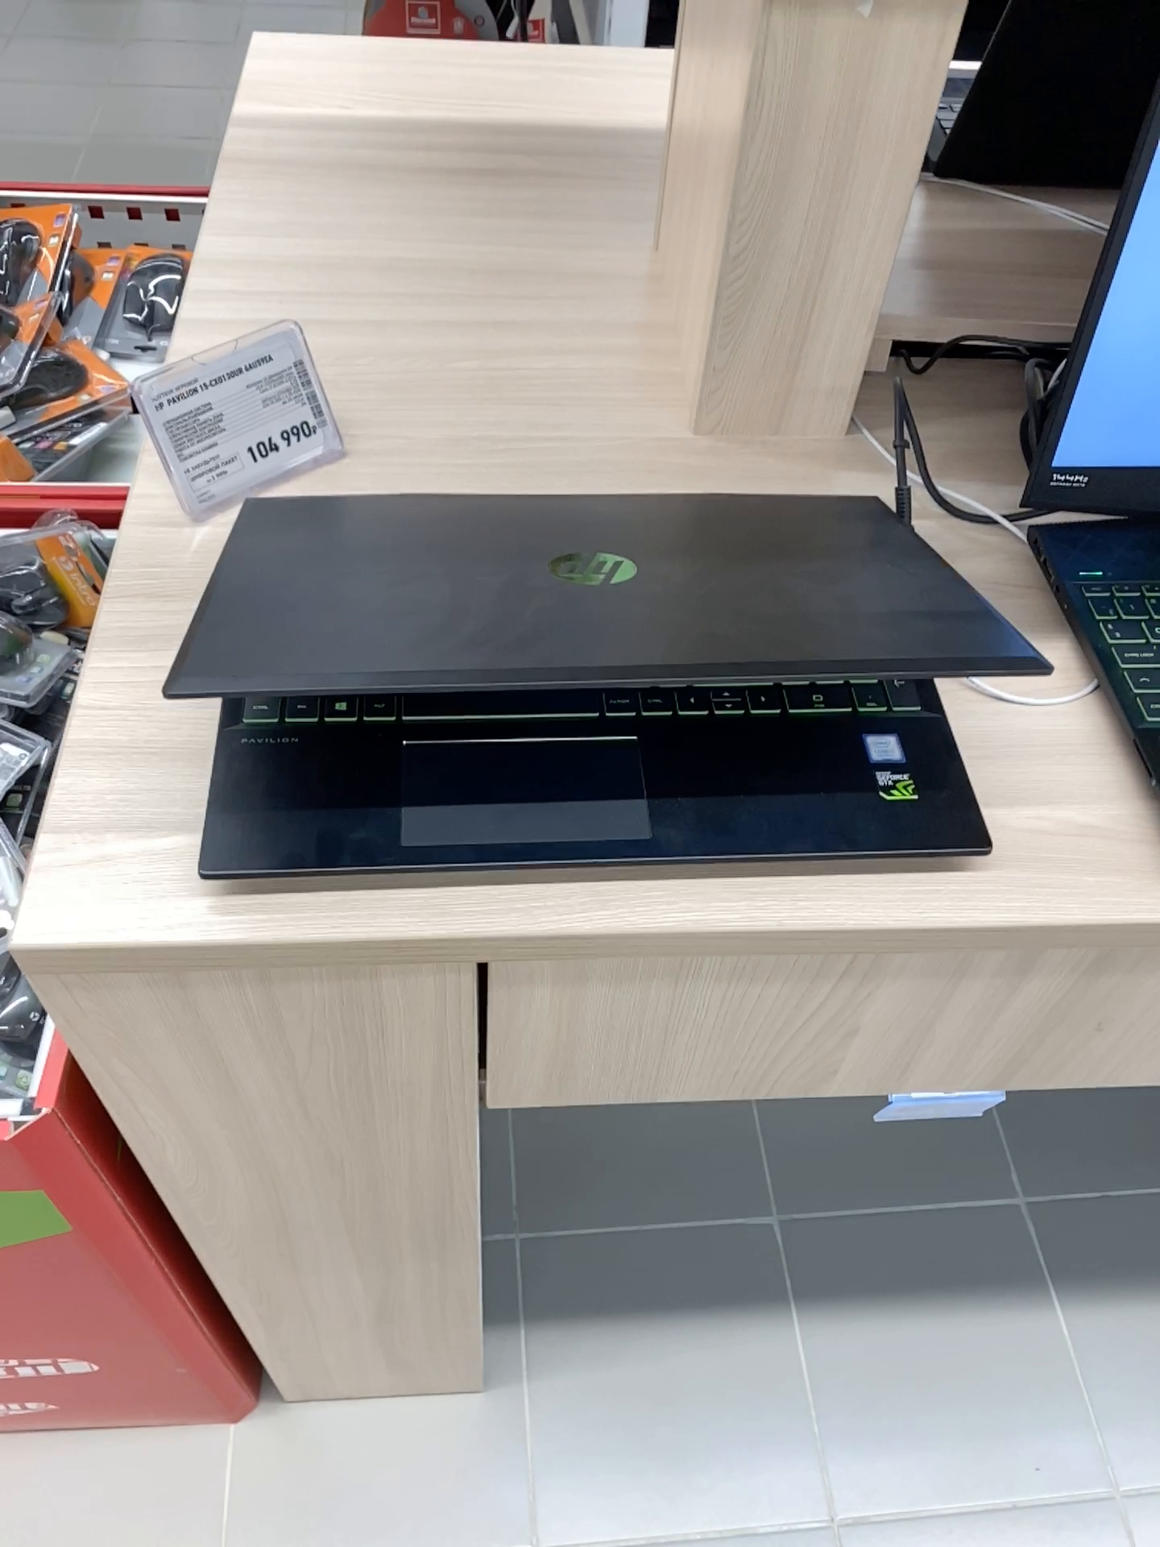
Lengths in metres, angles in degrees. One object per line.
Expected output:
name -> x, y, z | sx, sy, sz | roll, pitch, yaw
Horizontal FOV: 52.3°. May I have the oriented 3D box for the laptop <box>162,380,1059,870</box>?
laptop -> 0.007, -0.081, 0.585 | 0.365, 0.086, 0.241 | -1, 52, -6
